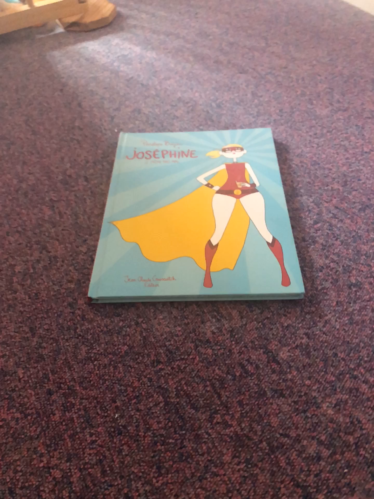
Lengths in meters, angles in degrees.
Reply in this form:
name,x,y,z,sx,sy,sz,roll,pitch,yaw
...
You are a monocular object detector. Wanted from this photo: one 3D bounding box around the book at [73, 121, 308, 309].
name,x,y,z,sx,sy,sz,roll,pitch,yaw
book,0.005,-0.064,0.520,0.234,0.020,0.308,-1,49,2
